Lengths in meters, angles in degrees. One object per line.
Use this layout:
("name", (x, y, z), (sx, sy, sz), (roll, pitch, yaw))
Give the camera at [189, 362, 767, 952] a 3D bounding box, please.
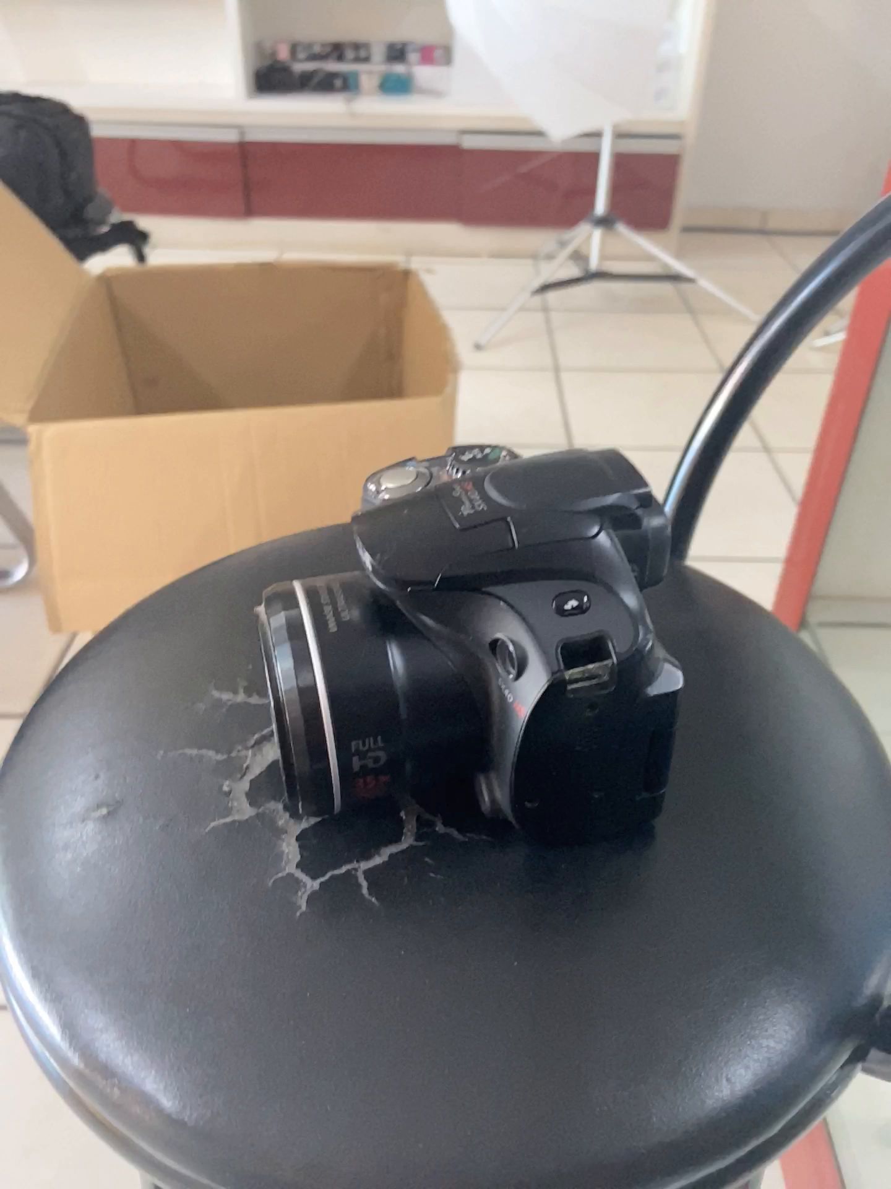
("camera", (-0.002, 0.006, 0.260), (0.110, 0.089, 0.121), (-11, 37, -16))
